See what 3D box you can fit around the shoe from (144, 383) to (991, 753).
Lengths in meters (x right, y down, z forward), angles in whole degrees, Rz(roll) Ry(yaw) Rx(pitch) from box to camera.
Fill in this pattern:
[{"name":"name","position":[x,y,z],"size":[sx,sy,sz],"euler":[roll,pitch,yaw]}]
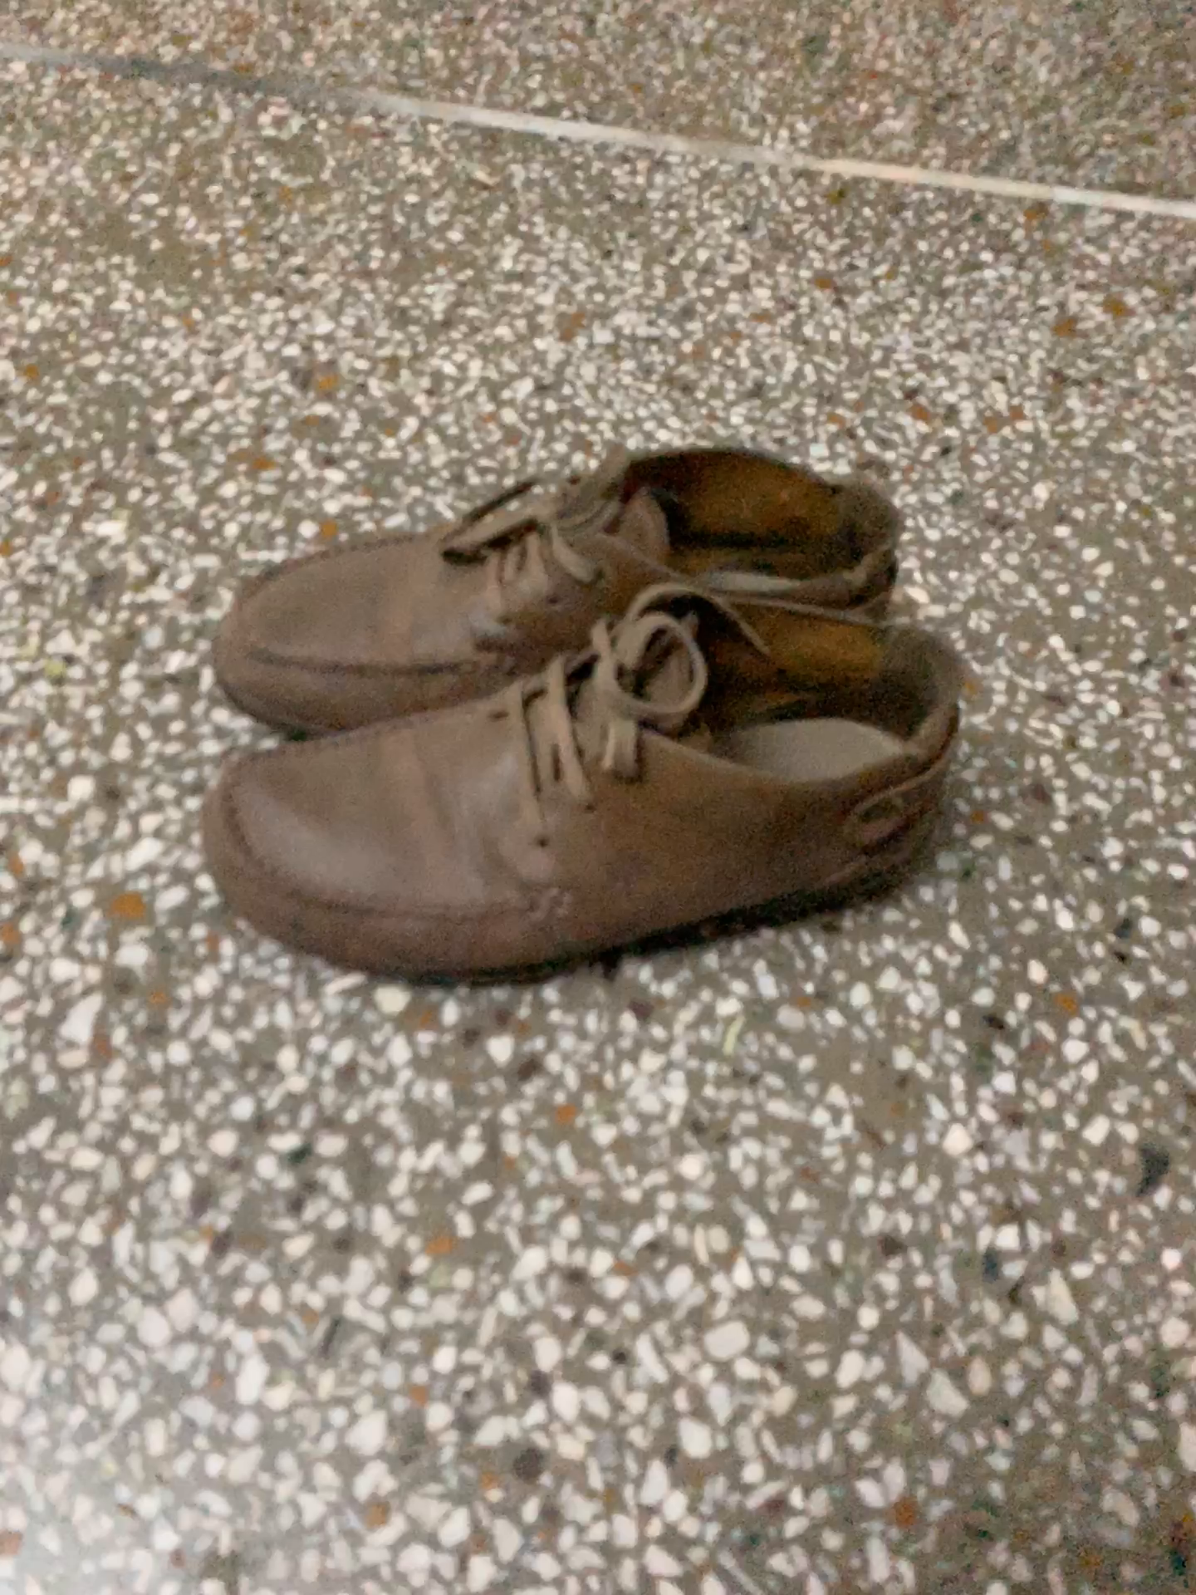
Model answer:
[{"name":"shoe","position":[-0.013,-0.090,0.481],"size":[0.290,0.100,0.100],"euler":[-1,56,-5]}]

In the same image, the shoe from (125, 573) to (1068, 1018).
[{"name":"shoe","position":[-0.003,-0.001,0.436],"size":[0.290,0.100,0.100],"euler":[-4,56,-7]}]
